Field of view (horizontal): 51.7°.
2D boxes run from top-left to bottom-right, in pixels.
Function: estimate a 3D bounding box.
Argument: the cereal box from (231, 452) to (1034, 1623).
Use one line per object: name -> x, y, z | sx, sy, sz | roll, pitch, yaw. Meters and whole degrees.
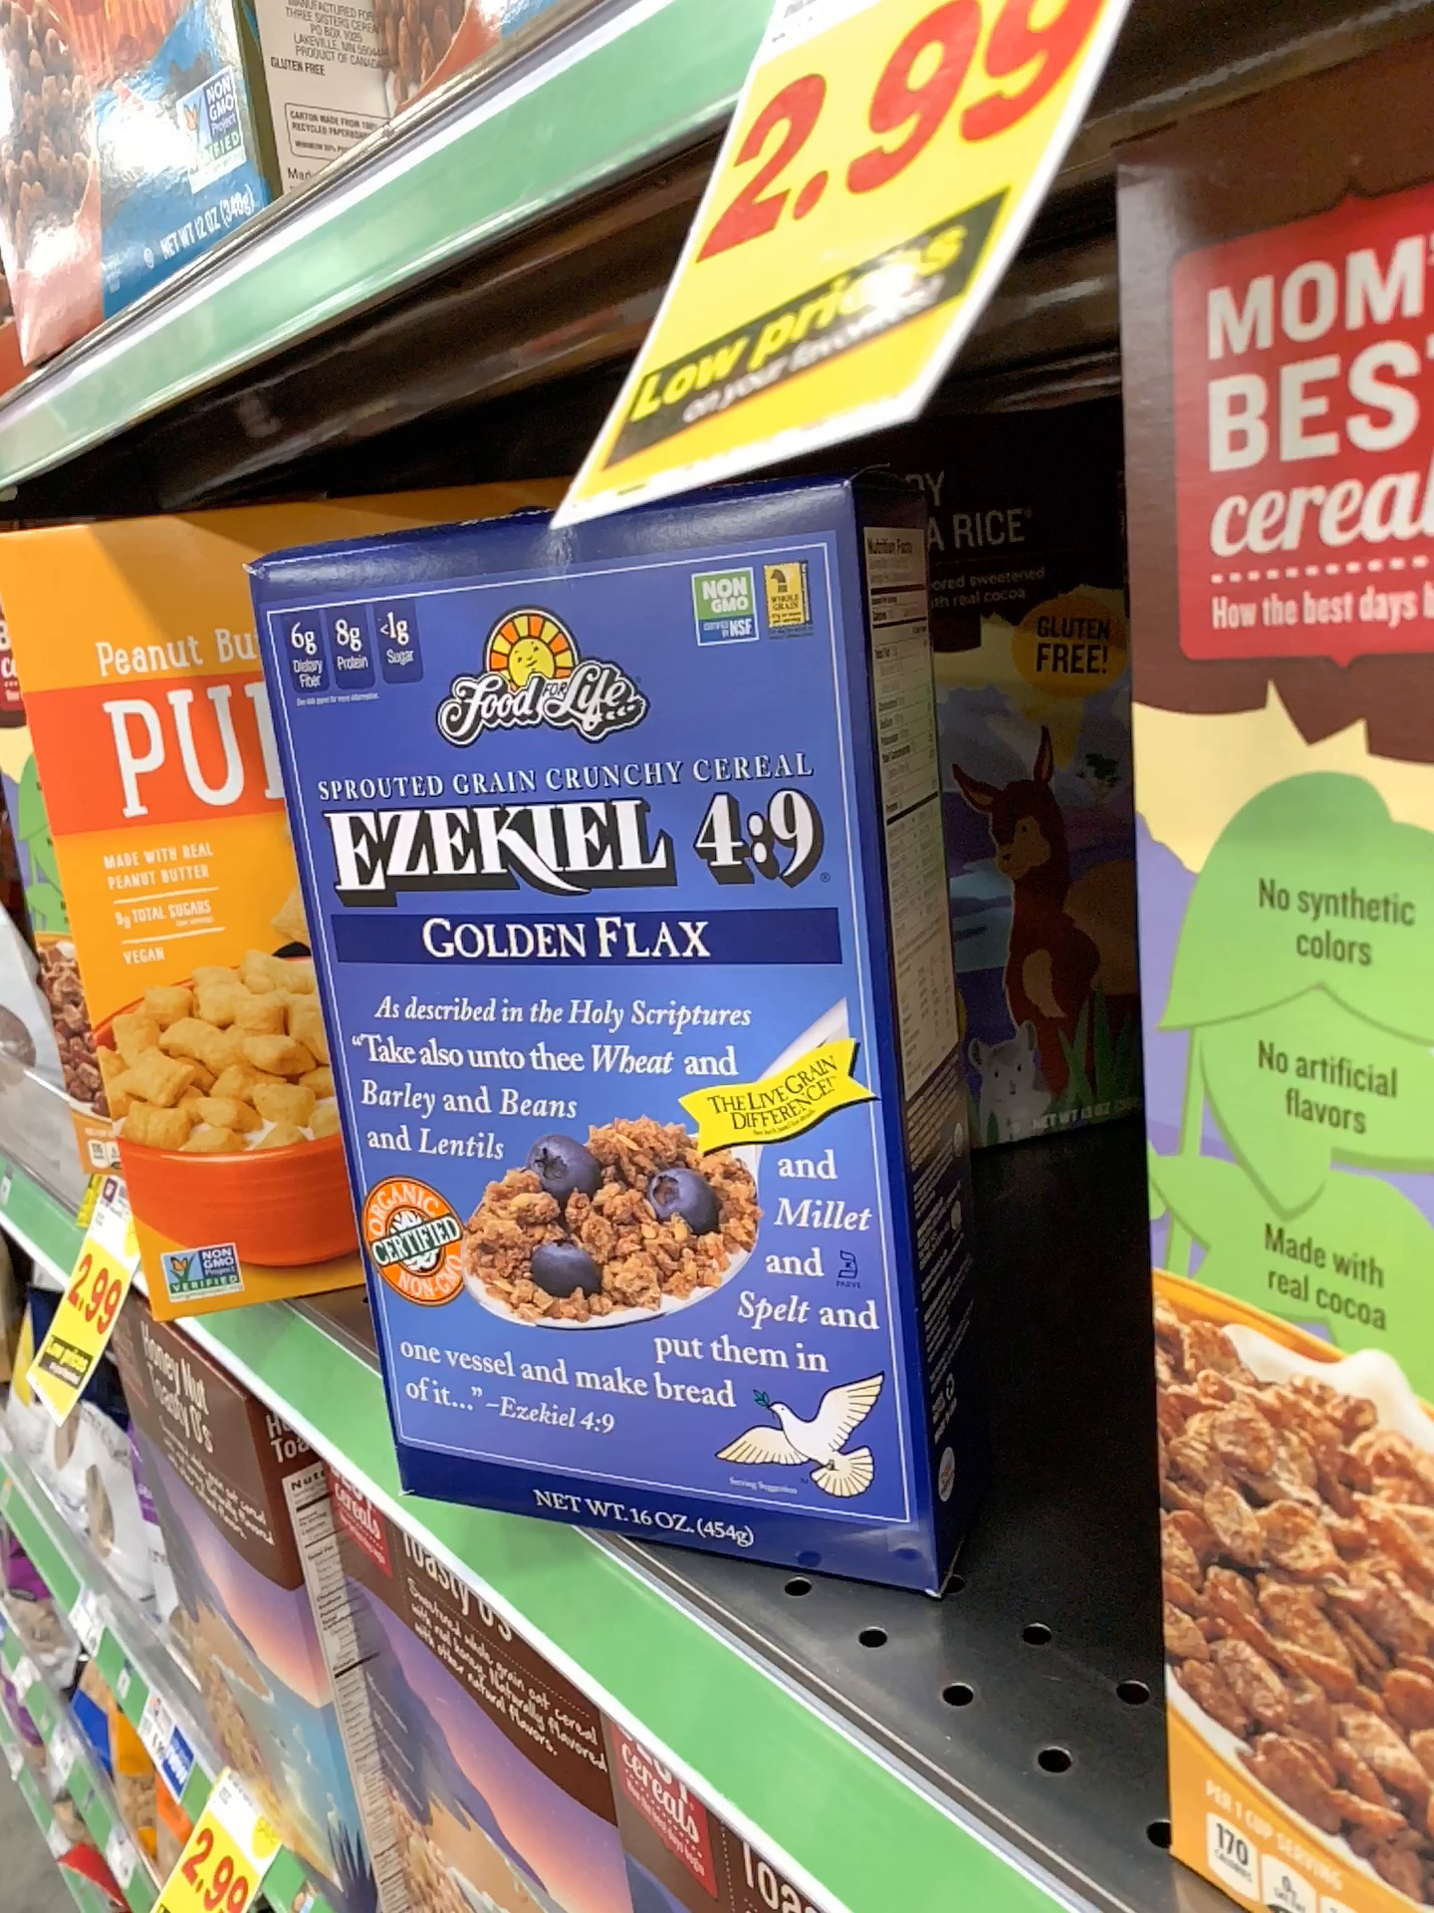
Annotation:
cereal box -> -0.016, 0.020, 0.365 | 0.160, 0.249, 0.060 | 0, 13, 26
